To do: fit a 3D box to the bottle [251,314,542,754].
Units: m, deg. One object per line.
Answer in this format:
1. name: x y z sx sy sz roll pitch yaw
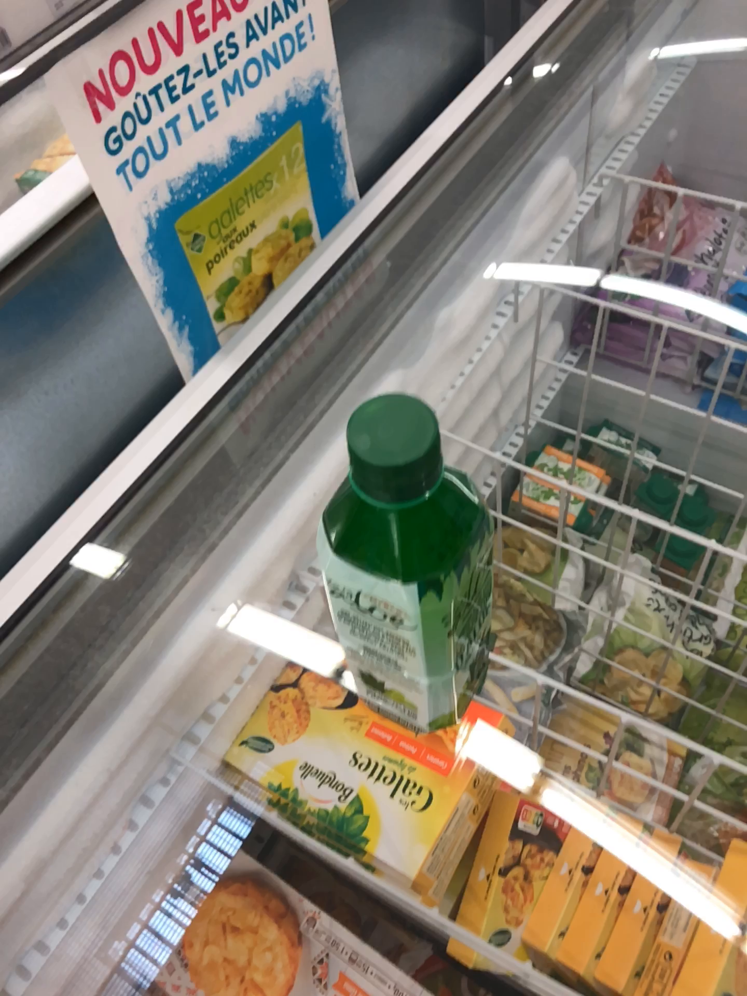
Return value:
1. bottle: 0.020 0.029 0.347 0.070 0.199 0.070 -4 55 5
